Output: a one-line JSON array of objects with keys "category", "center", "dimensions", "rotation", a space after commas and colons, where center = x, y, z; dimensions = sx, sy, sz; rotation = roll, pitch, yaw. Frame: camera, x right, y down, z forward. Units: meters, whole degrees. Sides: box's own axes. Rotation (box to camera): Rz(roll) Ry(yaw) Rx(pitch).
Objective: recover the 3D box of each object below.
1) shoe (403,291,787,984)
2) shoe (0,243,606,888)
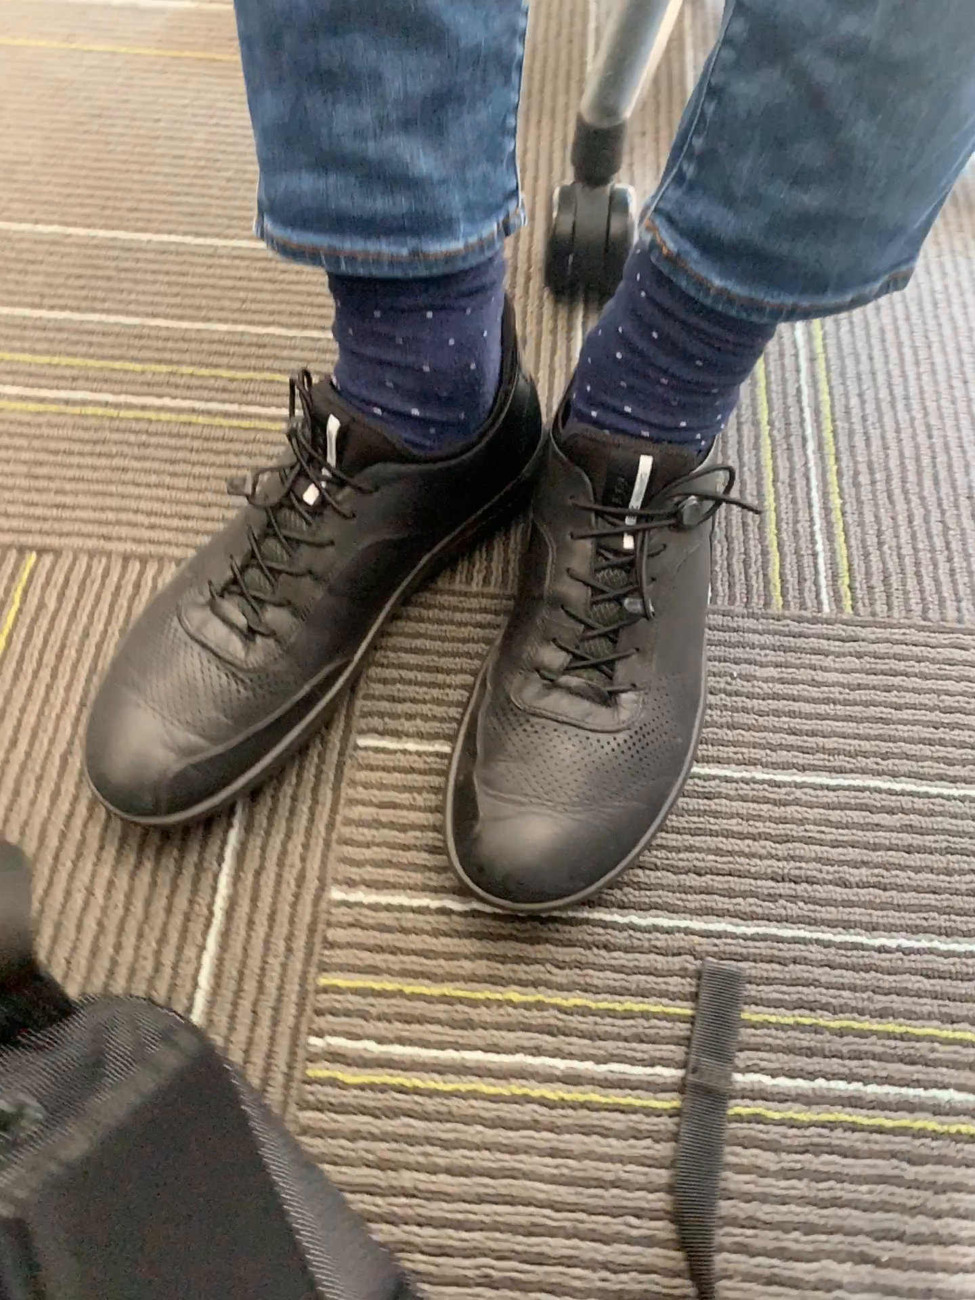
[{"category": "shoe", "center": [0.059, -0.018, 0.485], "dimensions": [0.110, 0.100, 0.311], "rotation": [13, 62, 6]}, {"category": "shoe", "center": [-0.081, -0.052, 0.491], "dimensions": [0.110, 0.100, 0.310], "rotation": [34, 66, 16]}]
